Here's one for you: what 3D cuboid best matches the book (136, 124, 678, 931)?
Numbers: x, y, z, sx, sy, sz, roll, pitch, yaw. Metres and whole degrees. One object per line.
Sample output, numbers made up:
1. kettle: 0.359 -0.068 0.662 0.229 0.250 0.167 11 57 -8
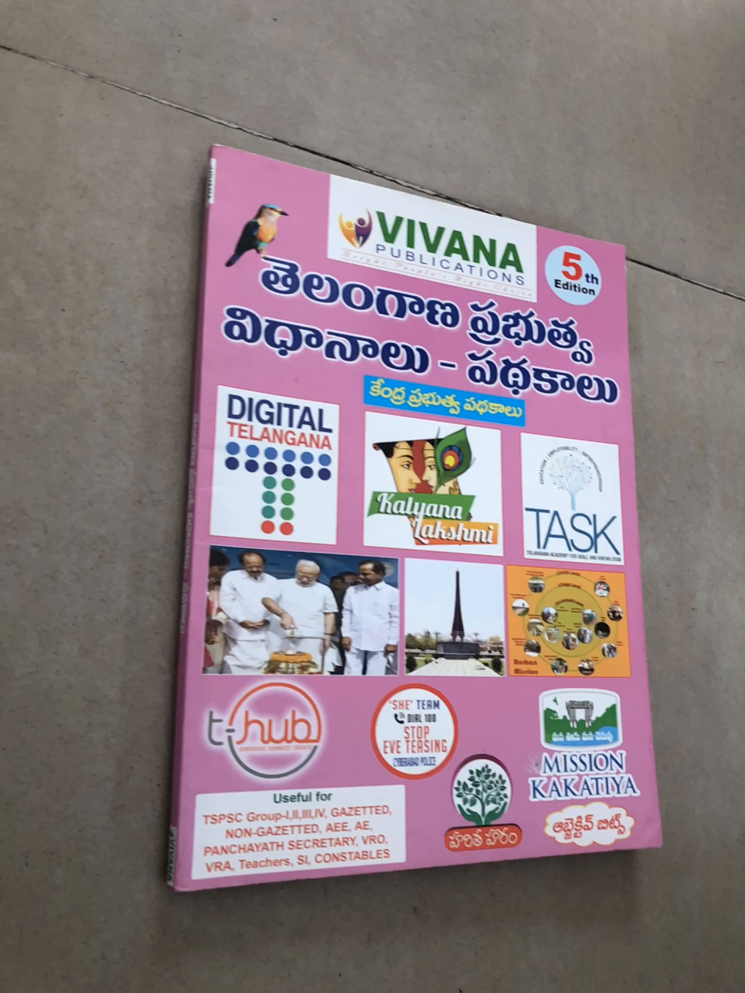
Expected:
1. book: 0.022 0.010 0.328 0.200 0.040 0.270 6 77 -22
